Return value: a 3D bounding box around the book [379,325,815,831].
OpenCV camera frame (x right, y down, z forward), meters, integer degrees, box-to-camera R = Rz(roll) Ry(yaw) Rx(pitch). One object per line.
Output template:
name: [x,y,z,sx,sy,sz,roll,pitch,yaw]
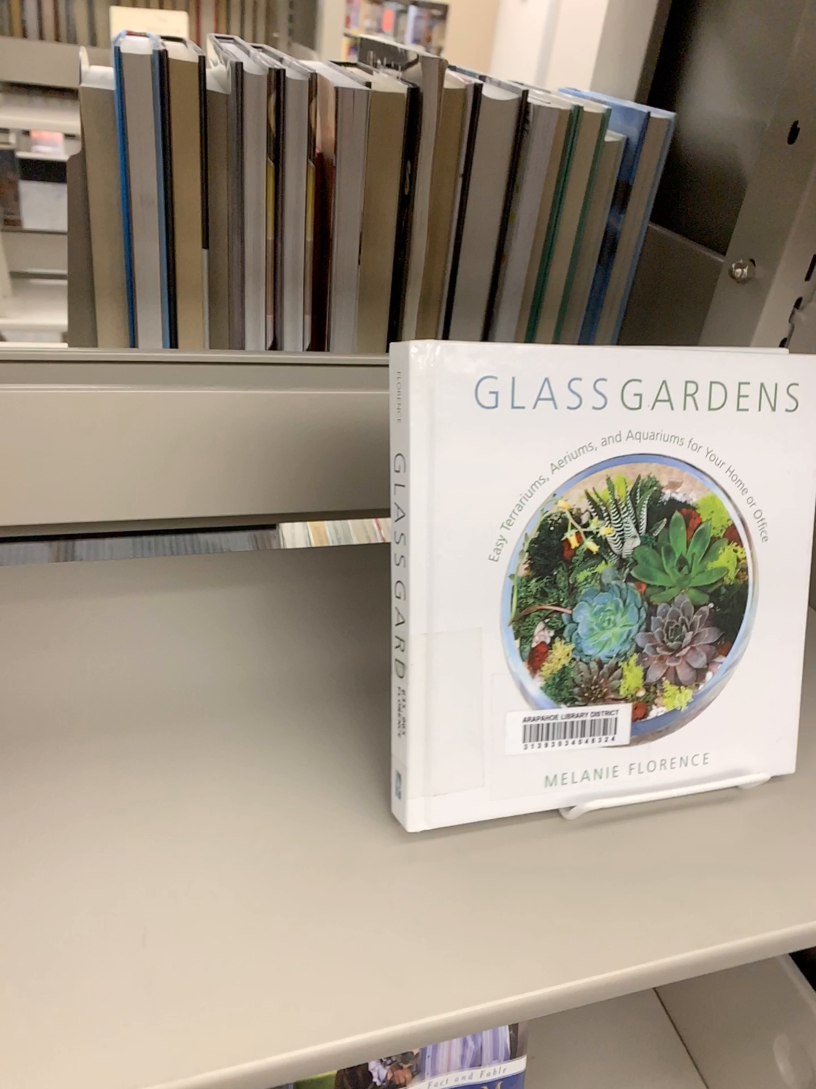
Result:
book: [0.080,0.008,0.327,0.180,0.174,0.030,-3,10,-18]
